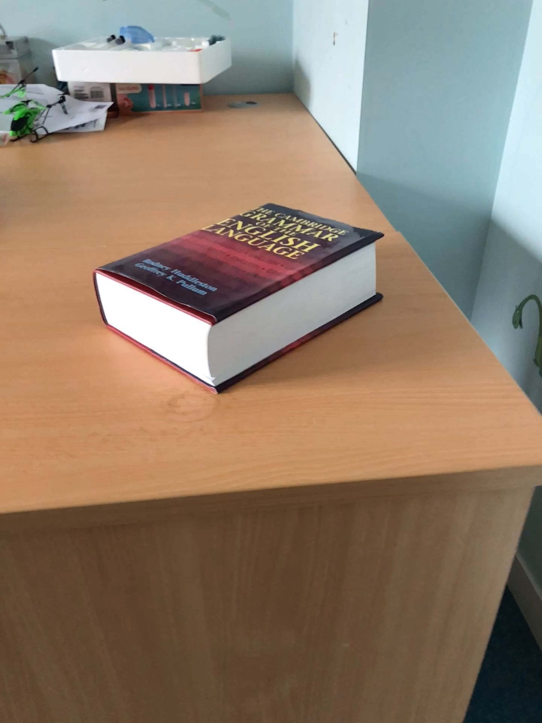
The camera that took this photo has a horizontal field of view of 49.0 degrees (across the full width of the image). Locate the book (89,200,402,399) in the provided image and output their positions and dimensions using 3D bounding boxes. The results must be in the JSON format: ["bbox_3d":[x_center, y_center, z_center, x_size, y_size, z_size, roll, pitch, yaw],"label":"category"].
[{"bbox_3d":[-0.020,-0.085,0.631,0.194,0.070,0.261,26,43,38],"label":"book"}]
